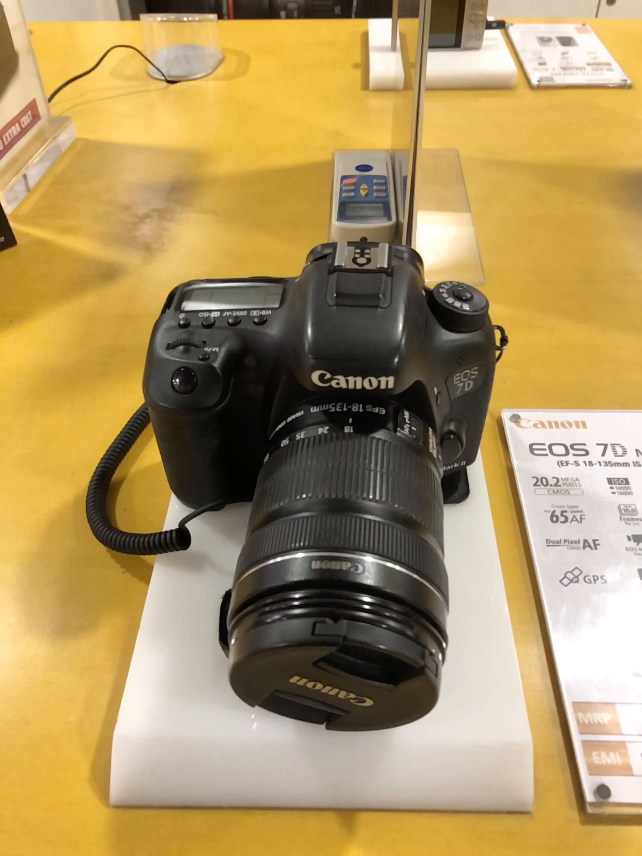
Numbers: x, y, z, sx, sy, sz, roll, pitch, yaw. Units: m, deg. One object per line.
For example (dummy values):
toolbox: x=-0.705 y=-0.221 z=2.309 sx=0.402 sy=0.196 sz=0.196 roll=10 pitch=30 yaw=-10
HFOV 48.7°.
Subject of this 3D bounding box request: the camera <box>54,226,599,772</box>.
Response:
camera: x=0.005 y=0.017 z=0.268 sx=0.130 sy=0.109 sz=0.171 roll=1 pitch=45 yaw=2
